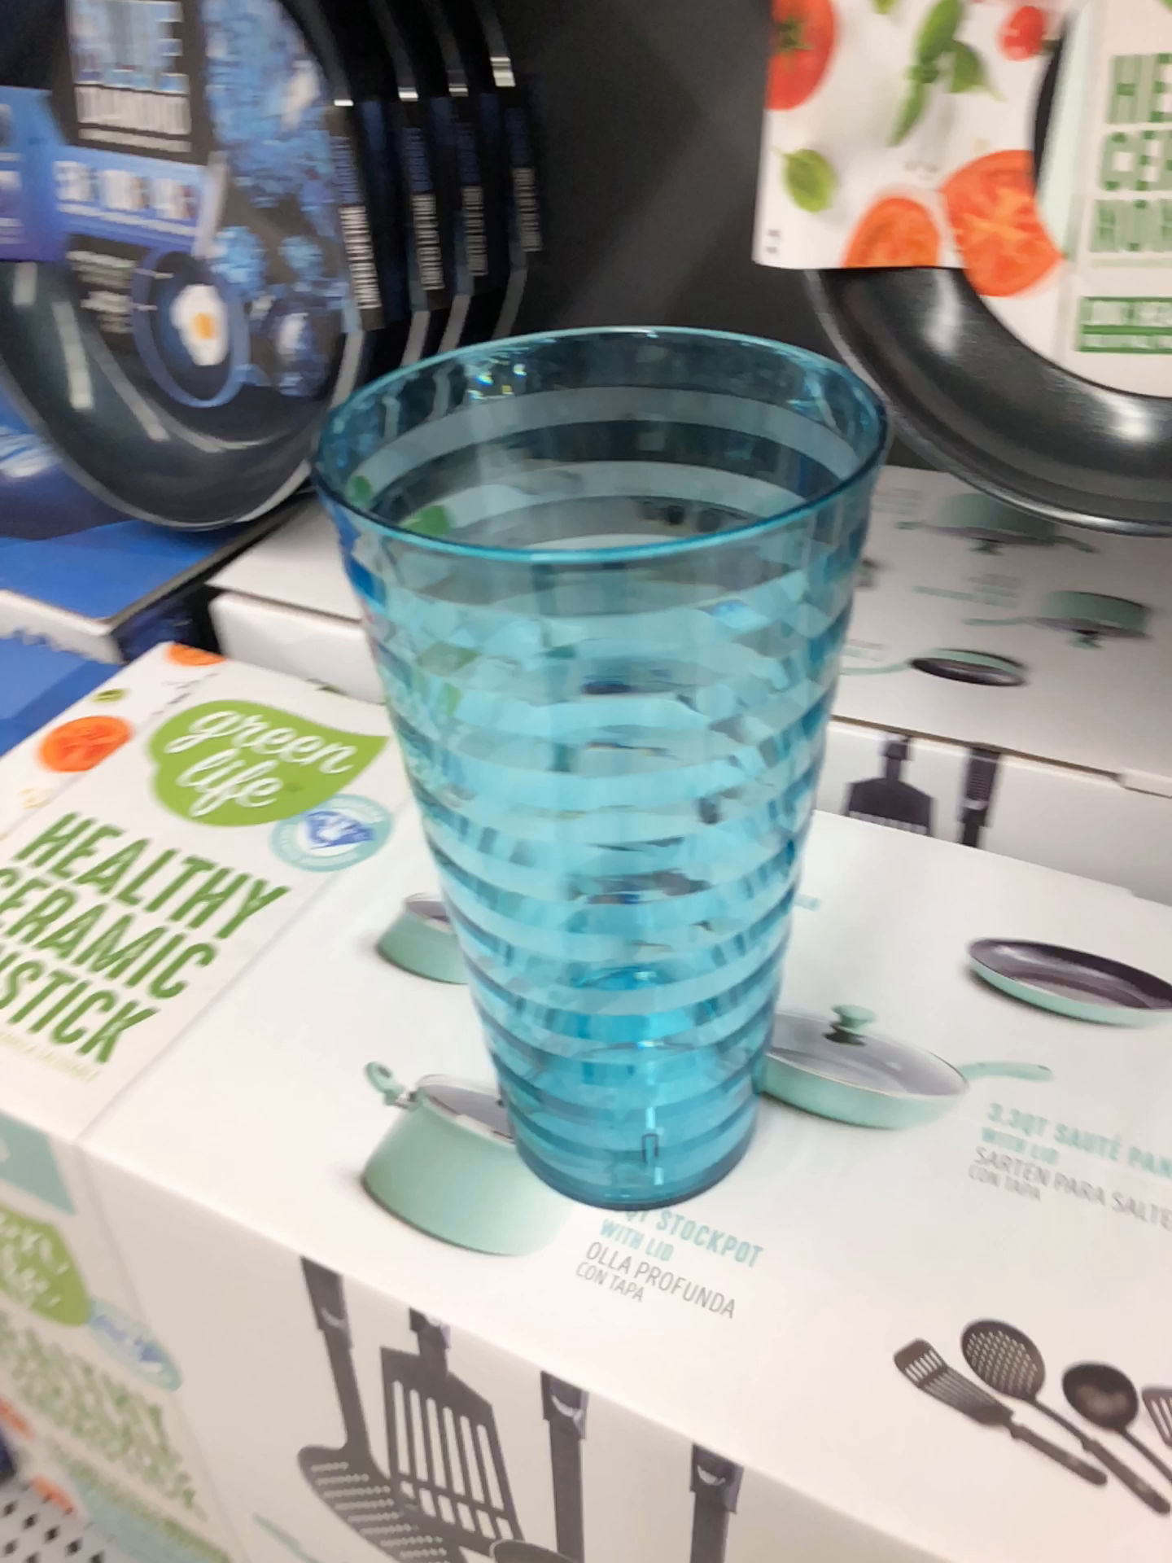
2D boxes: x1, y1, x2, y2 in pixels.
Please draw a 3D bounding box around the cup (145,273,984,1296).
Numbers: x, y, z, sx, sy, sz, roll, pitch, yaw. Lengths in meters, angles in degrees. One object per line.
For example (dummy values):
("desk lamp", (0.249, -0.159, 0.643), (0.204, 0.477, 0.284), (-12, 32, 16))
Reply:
("cup", (-0.004, -0.003, 0.265), (0.103, 0.151, 0.105), (-3, 38, 2))
